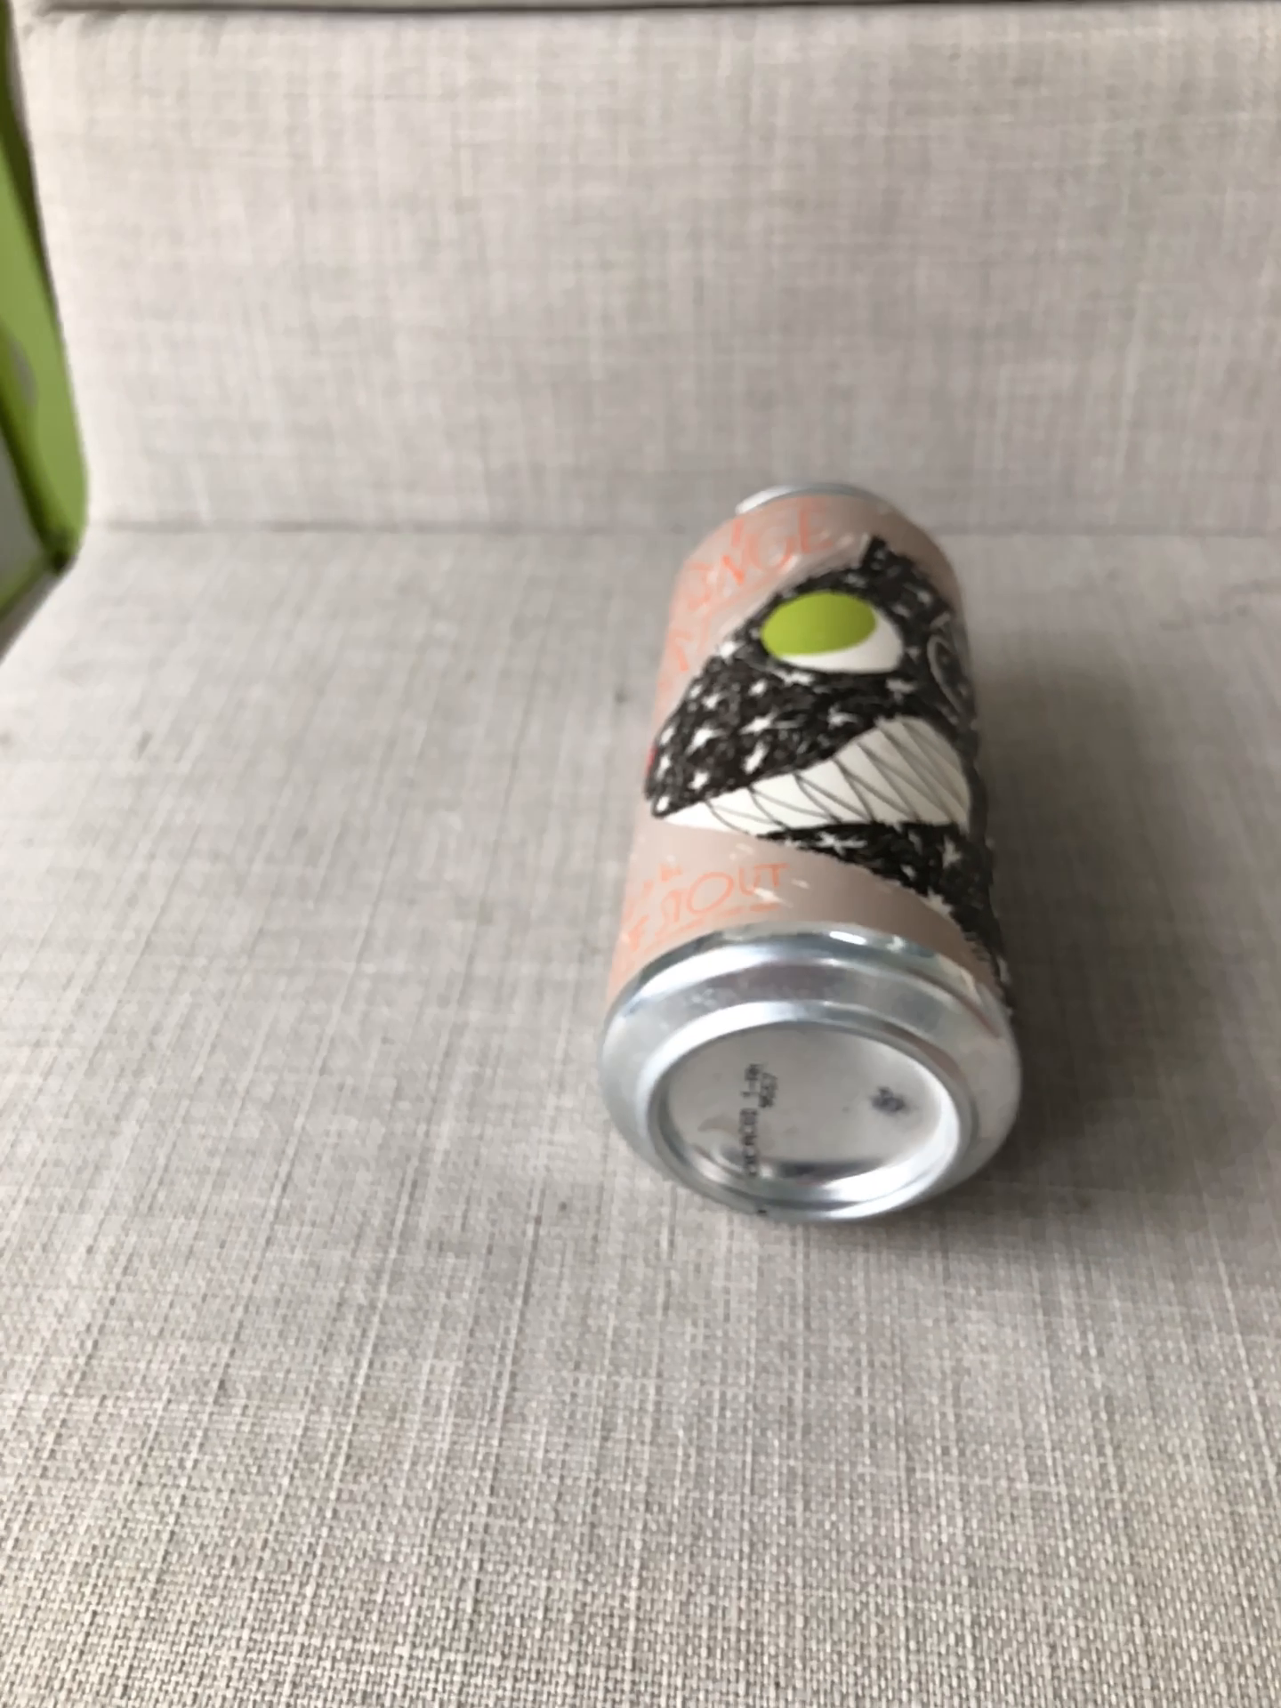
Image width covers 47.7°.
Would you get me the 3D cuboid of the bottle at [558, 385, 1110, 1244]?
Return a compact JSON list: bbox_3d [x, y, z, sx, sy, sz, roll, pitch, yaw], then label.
[{"bbox_3d":[0.031,-0.017,0.263,0.070,0.069,0.151,2,45,4],"label":"bottle"}]
